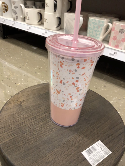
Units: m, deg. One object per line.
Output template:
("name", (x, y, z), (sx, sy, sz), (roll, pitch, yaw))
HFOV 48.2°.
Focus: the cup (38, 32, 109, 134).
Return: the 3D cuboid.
("cup", (0.017, -0.004, 0.262), (0.090, 0.149, 0.090), (5, 32, -3))
